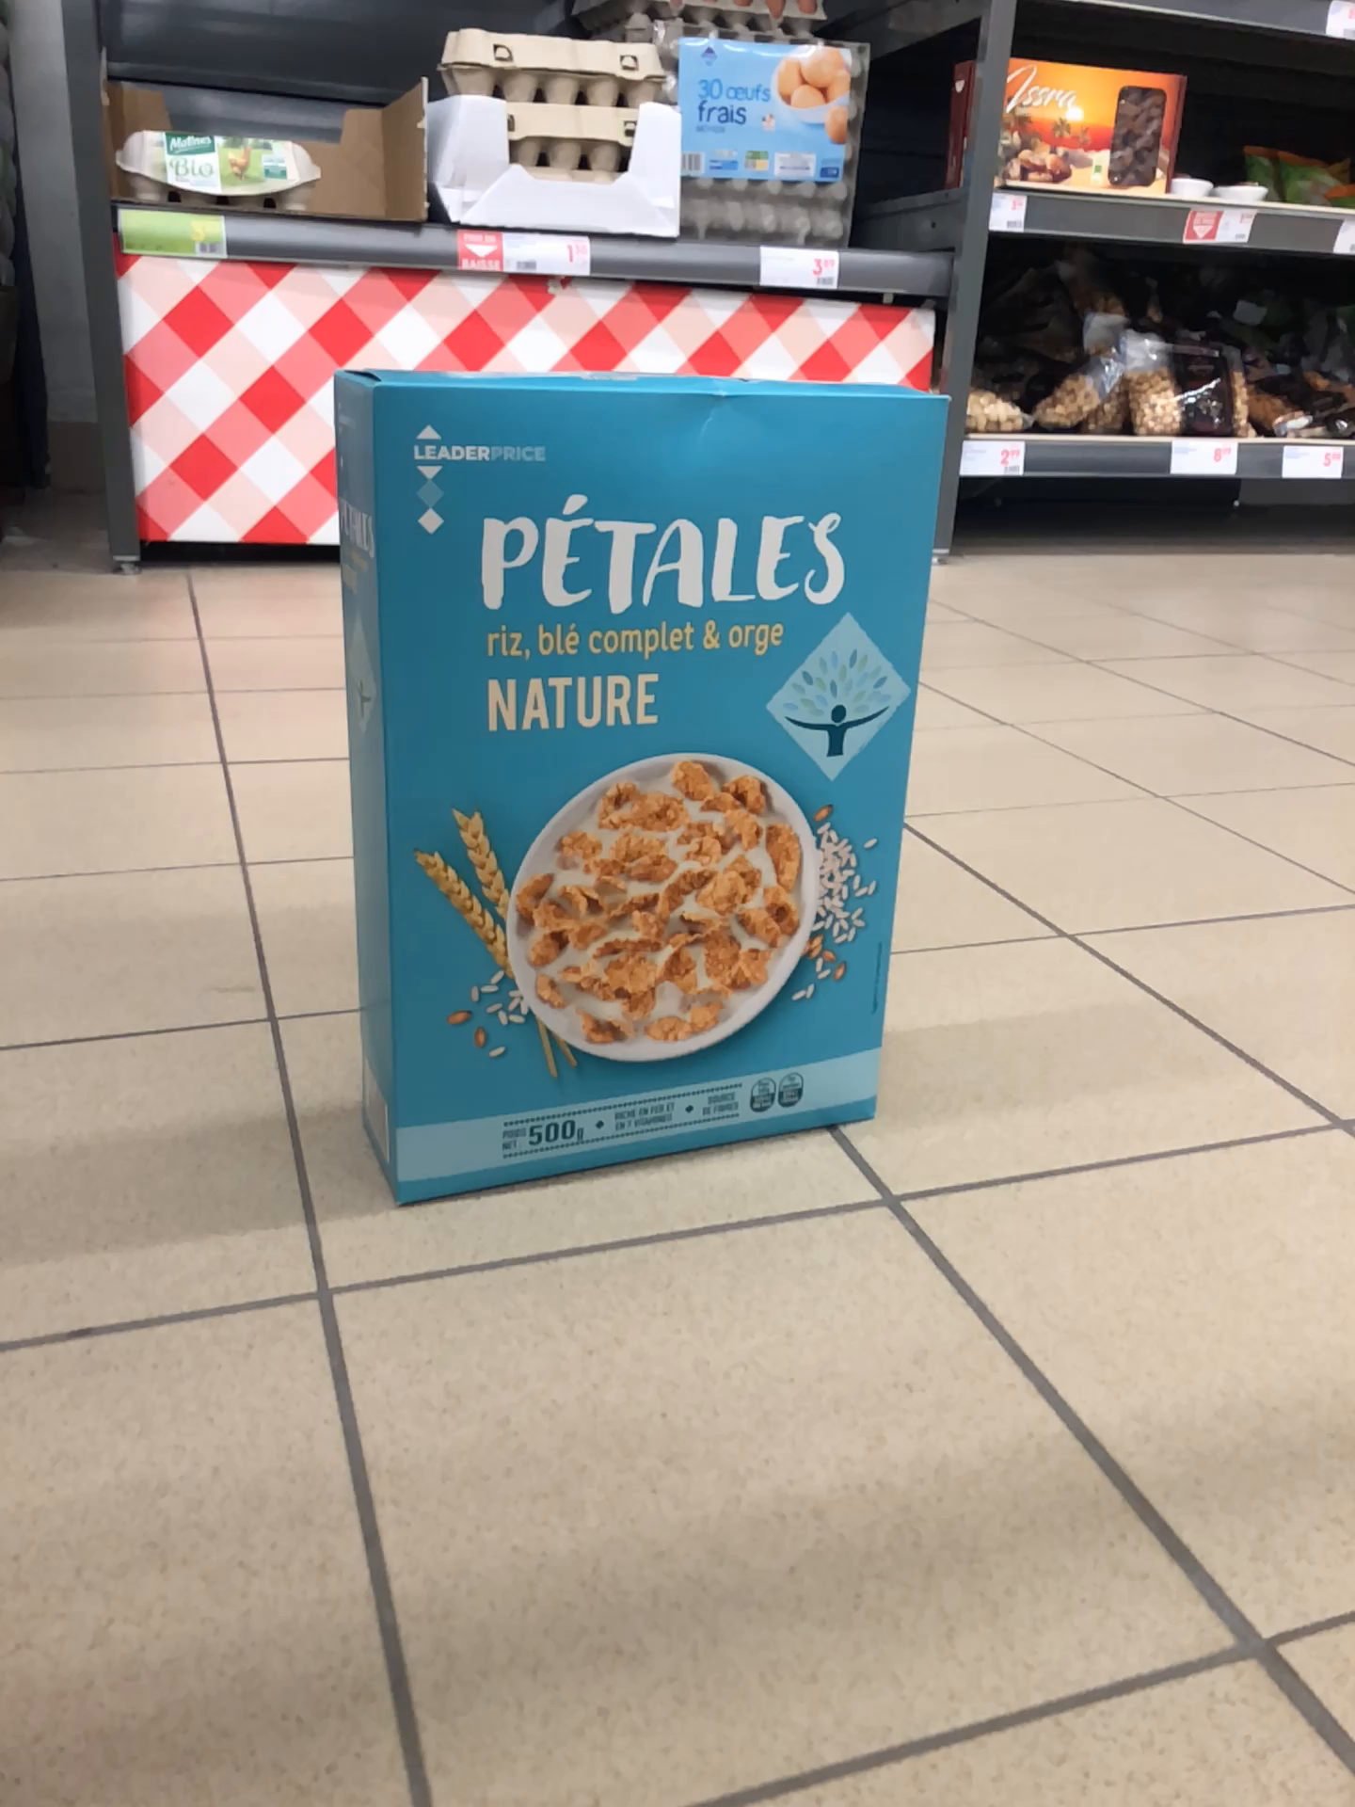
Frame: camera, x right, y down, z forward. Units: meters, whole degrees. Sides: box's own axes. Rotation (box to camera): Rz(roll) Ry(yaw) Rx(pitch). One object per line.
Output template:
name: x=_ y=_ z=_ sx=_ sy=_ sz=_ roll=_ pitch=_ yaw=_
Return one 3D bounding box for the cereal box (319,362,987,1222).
cereal box: x=-0.012 y=-0.041 z=0.517 sx=0.200 sy=0.269 sz=0.070 roll=-6 pitch=22 yaw=-21
